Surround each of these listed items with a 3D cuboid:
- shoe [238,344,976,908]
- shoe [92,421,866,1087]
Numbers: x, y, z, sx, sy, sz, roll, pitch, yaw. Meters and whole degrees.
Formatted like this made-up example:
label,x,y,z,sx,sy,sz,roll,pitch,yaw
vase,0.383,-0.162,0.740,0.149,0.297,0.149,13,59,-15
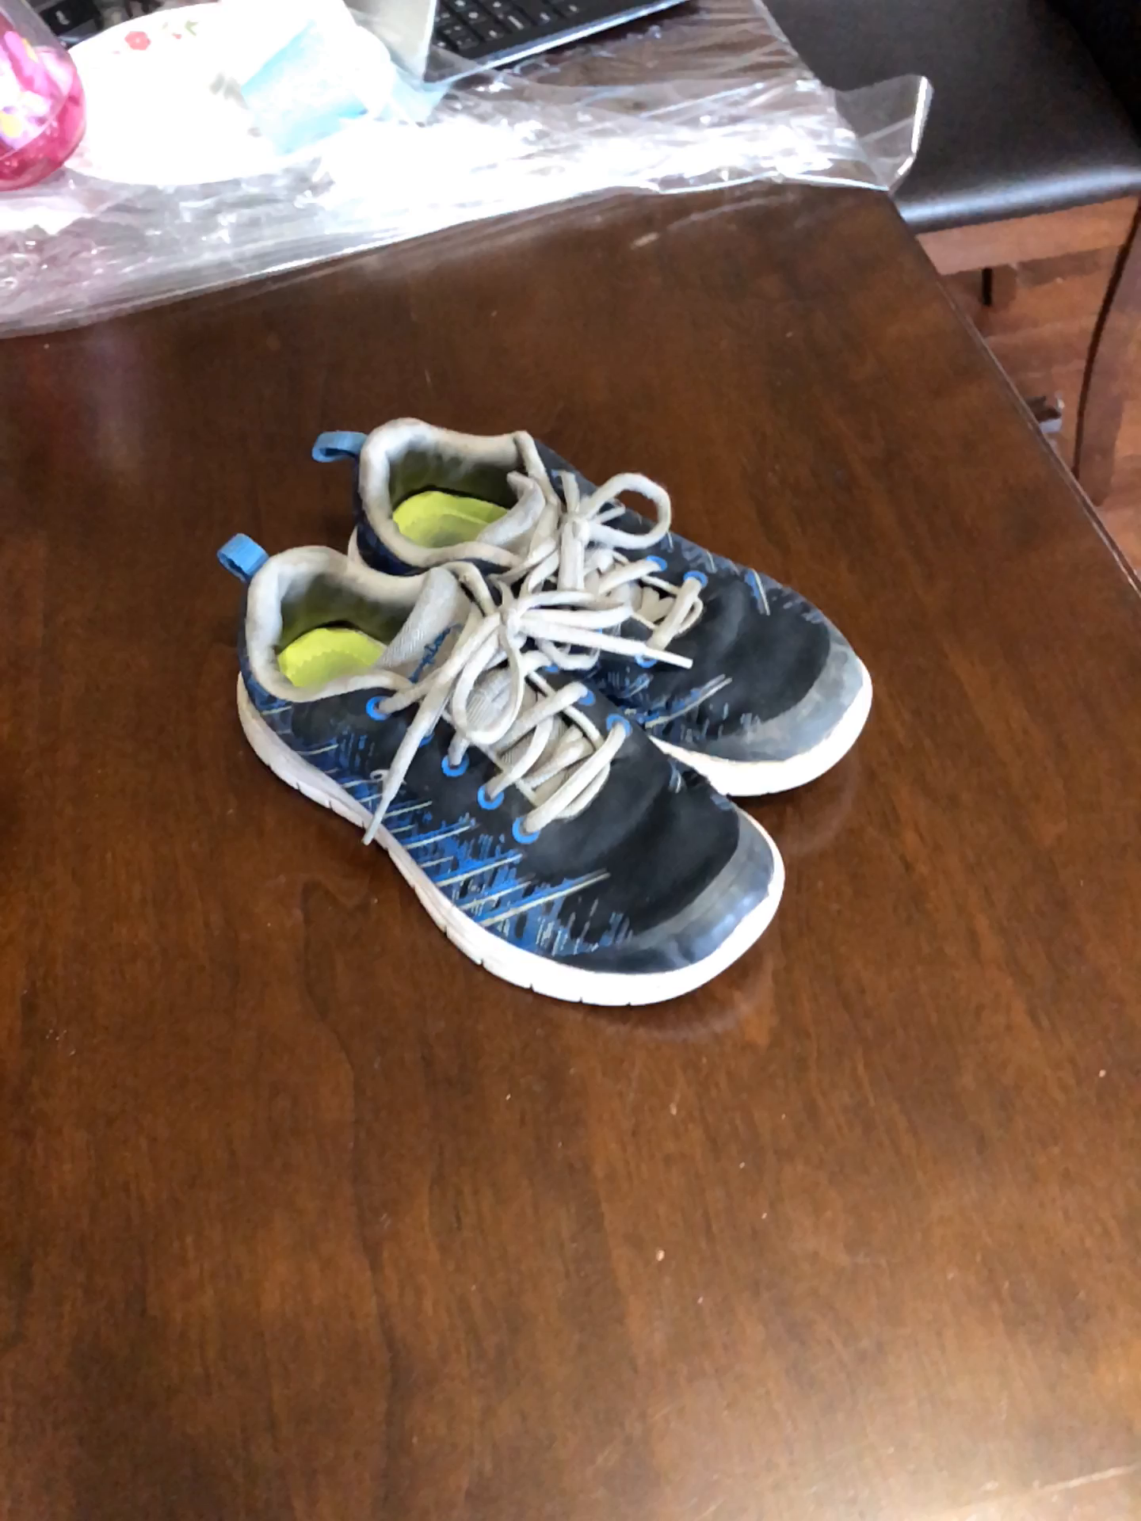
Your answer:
label,x,y,z,sx,sy,sz,roll,pitch,yaw
shoe,0.011,-0.055,0.464,0.230,0.090,0.100,24,60,20
shoe,-0.031,-0.010,0.418,0.220,0.090,0.100,30,62,23
